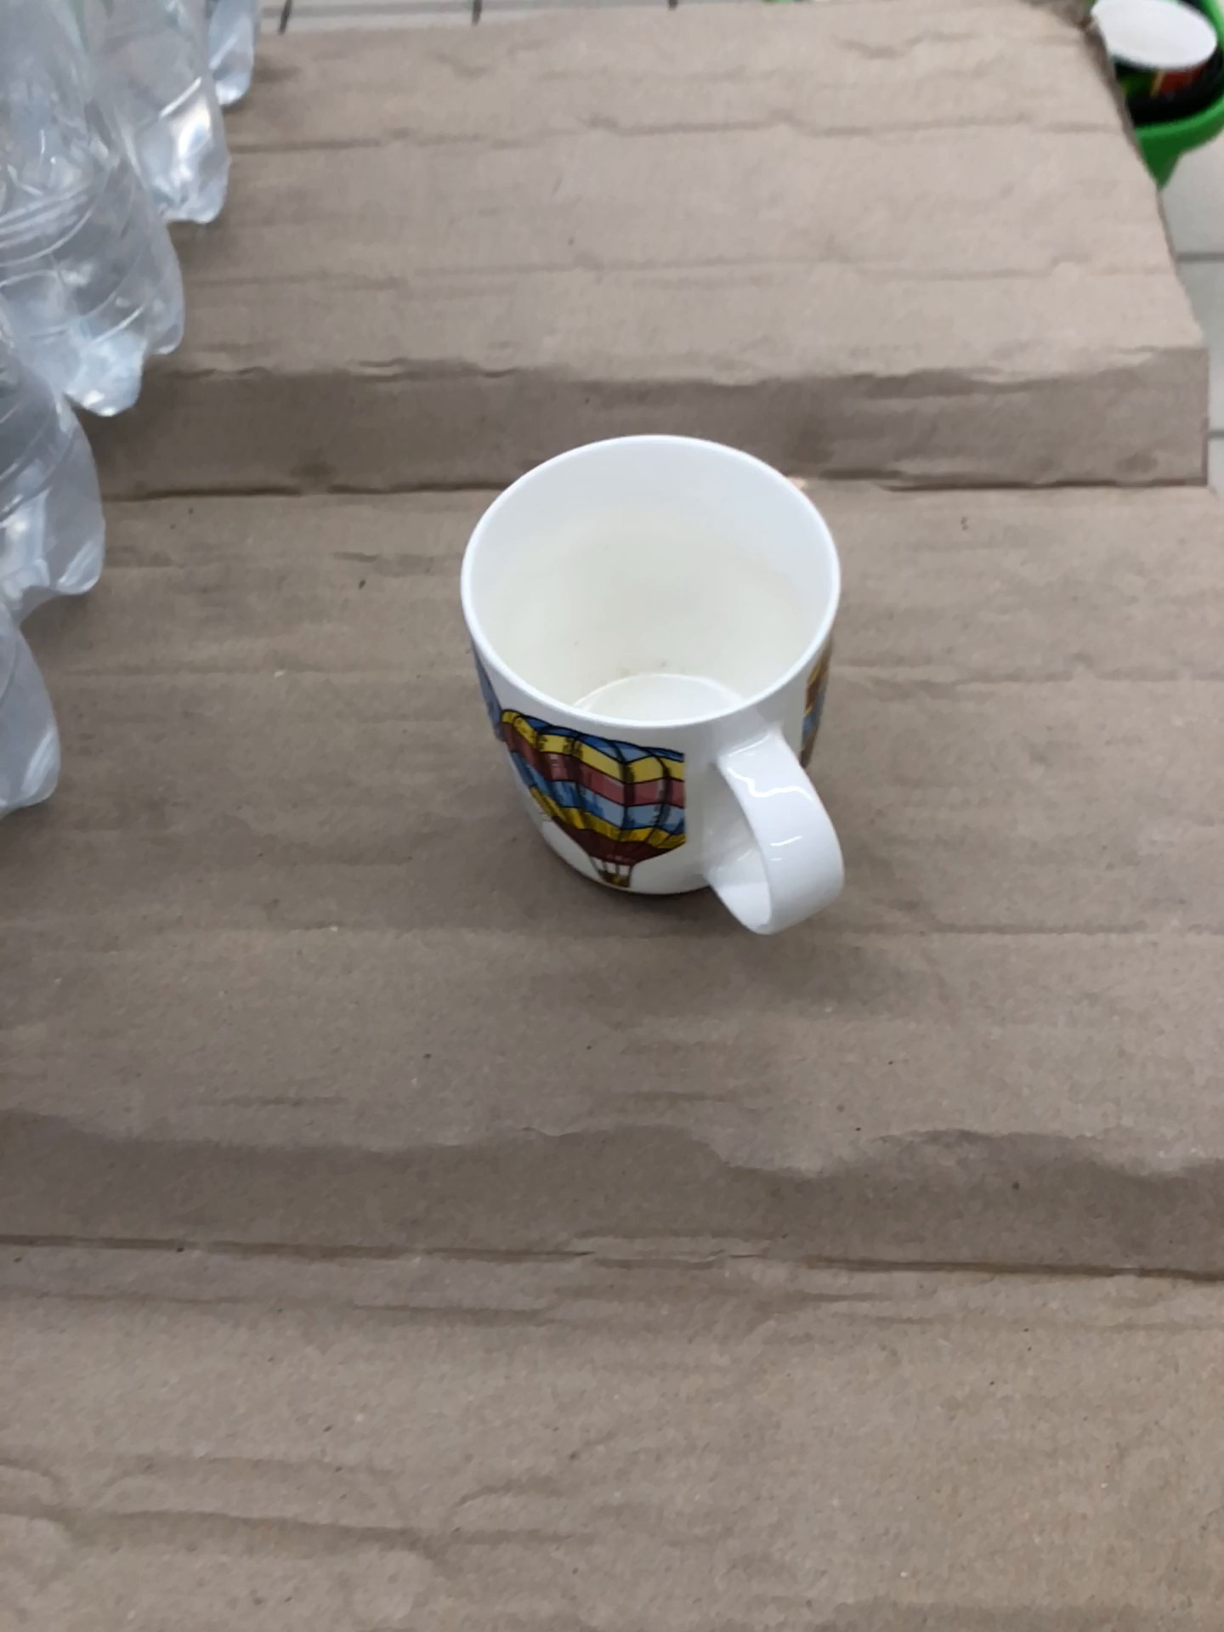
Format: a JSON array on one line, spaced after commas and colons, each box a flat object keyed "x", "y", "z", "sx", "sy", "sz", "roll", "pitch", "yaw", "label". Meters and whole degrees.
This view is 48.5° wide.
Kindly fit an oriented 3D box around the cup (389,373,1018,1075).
[{"x": 0.019, "y": -0.024, "z": 0.346, "sx": 0.093, "sy": 0.082, "sz": 0.132, "roll": -25, "pitch": 62, "yaw": -9, "label": "cup"}]
